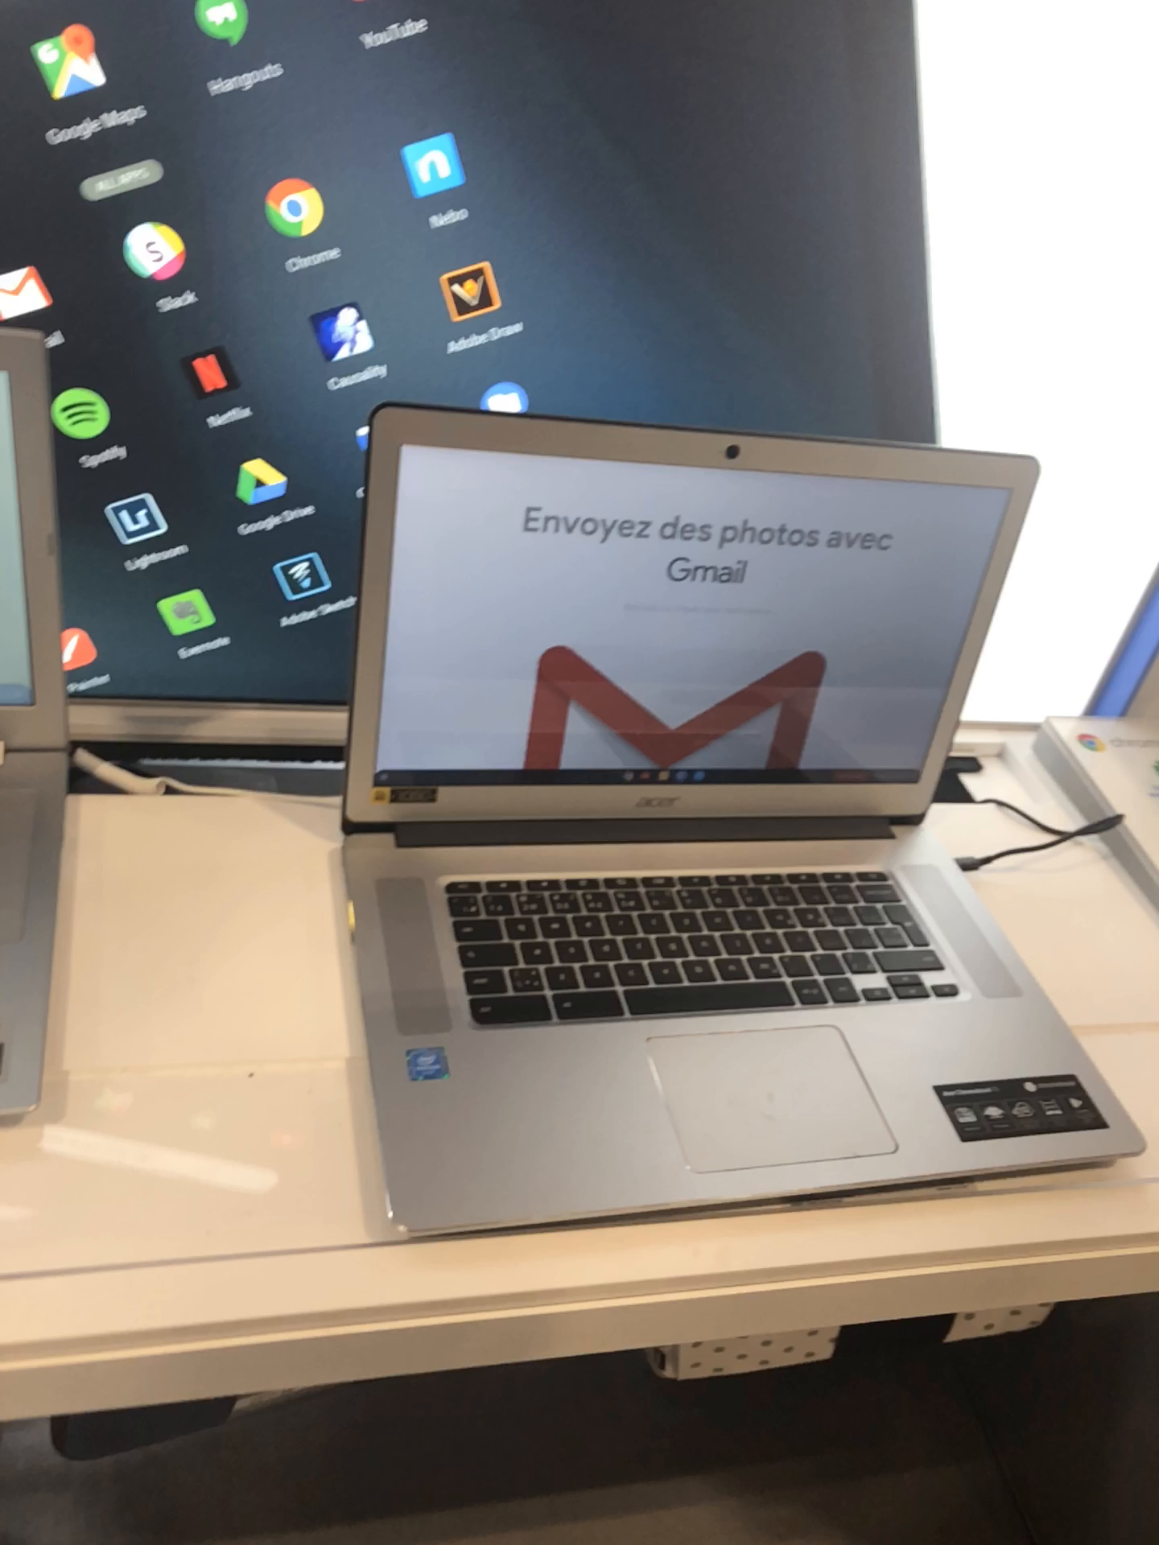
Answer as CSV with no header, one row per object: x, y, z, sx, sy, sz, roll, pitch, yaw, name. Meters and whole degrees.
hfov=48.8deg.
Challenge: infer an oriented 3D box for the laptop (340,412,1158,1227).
0.091,0.010,0.632,0.371,0.243,0.283,0,38,-18,laptop
